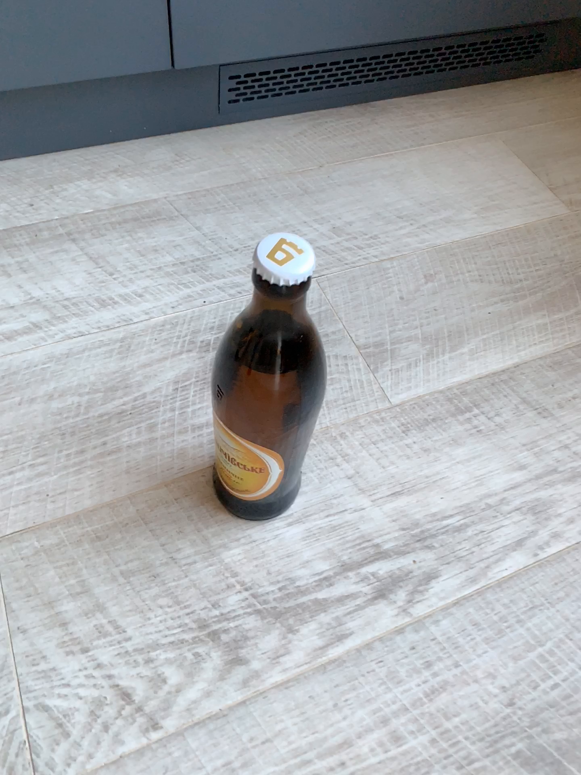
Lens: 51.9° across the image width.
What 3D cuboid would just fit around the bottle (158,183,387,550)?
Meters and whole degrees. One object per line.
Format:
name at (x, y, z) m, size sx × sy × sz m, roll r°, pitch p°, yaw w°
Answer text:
bottle at (-0.018, 0.008, 0.347) m, size 0.070 × 0.229 × 0.070 m, roll 3°, pitch 55°, yaw -4°
